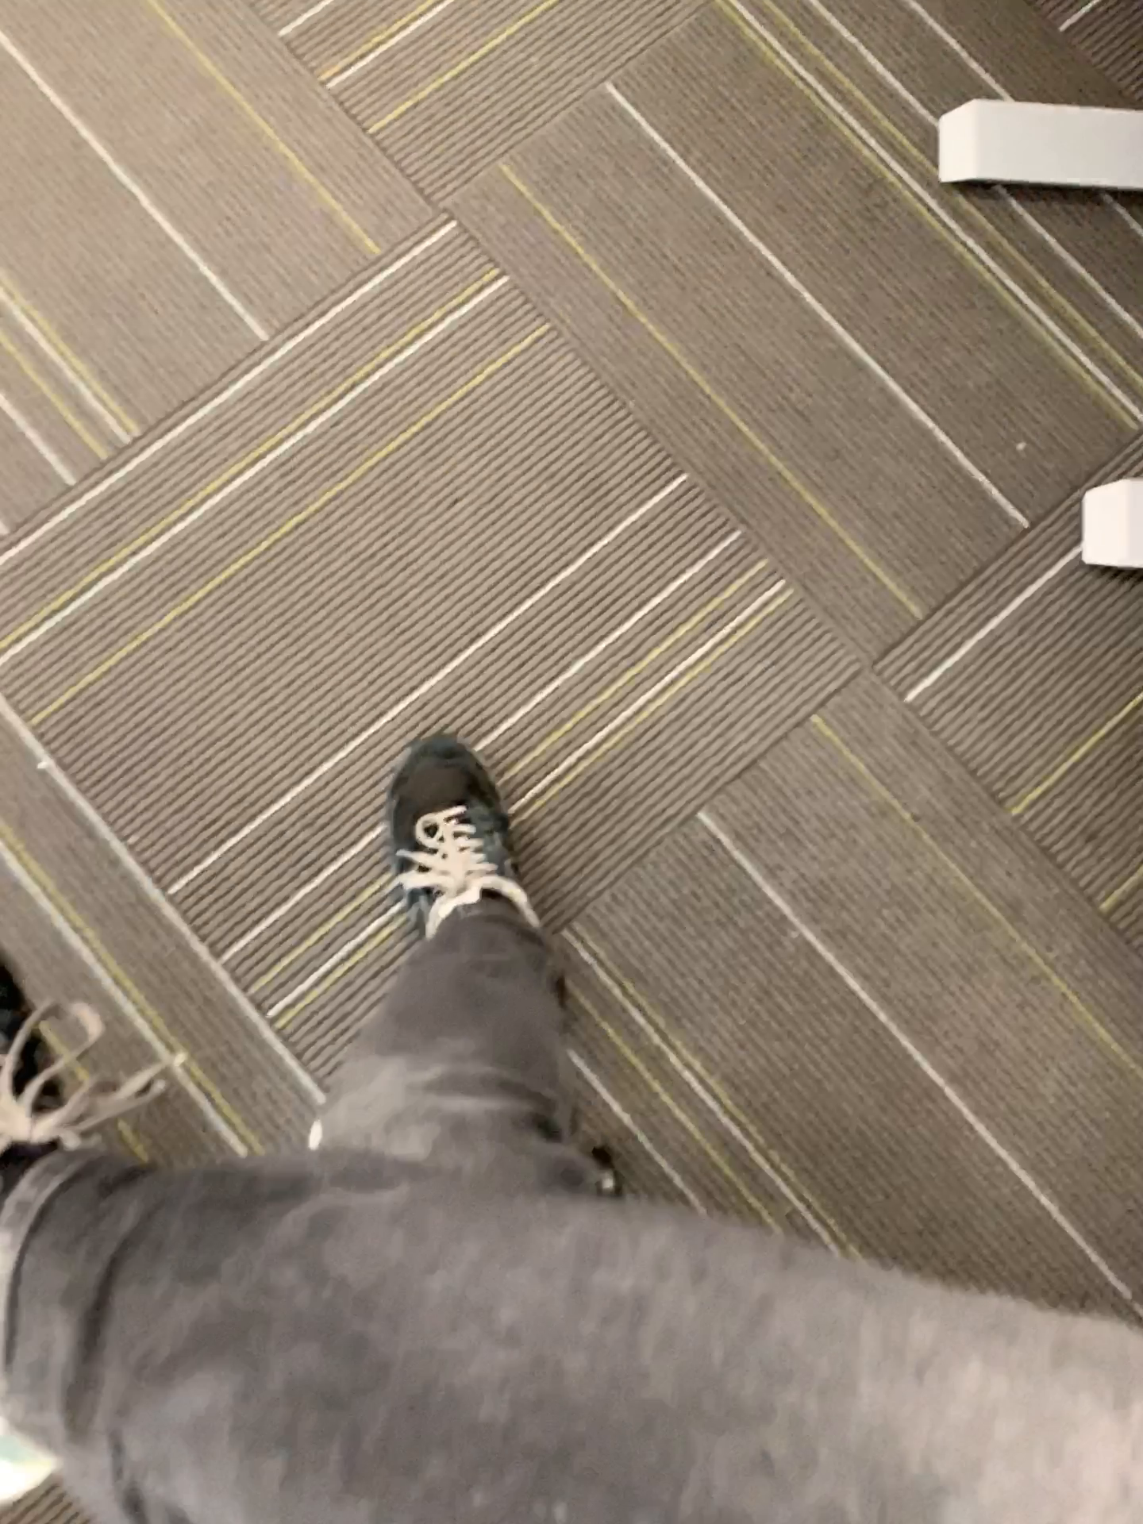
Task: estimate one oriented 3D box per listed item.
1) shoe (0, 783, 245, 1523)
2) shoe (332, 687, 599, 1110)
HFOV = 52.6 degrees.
[{"bbox_3d":[-0.280,0.179,0.529,0.133,0.115,0.304,-25,80,31],"label":"shoe"},{"bbox_3d":[-0.086,0.111,0.957,0.115,0.133,0.304,-19,81,-5],"label":"shoe"}]
